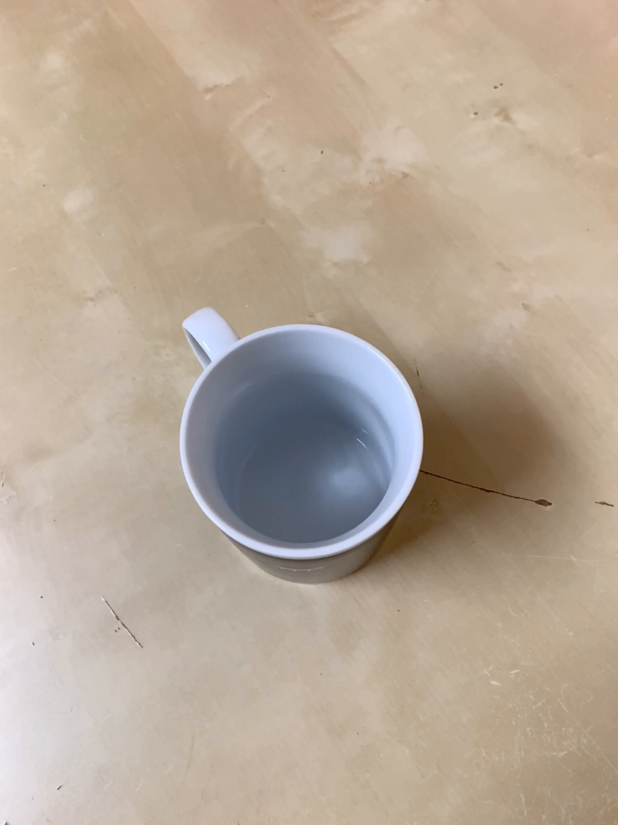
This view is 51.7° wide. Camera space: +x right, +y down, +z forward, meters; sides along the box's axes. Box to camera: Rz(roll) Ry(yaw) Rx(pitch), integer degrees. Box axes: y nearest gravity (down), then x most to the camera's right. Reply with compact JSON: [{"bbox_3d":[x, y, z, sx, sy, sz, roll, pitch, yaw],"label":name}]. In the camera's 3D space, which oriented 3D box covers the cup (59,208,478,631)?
[{"bbox_3d":[-0.015,0.010,0.259,0.083,0.101,0.122,-37,73,-11],"label":"cup"}]
